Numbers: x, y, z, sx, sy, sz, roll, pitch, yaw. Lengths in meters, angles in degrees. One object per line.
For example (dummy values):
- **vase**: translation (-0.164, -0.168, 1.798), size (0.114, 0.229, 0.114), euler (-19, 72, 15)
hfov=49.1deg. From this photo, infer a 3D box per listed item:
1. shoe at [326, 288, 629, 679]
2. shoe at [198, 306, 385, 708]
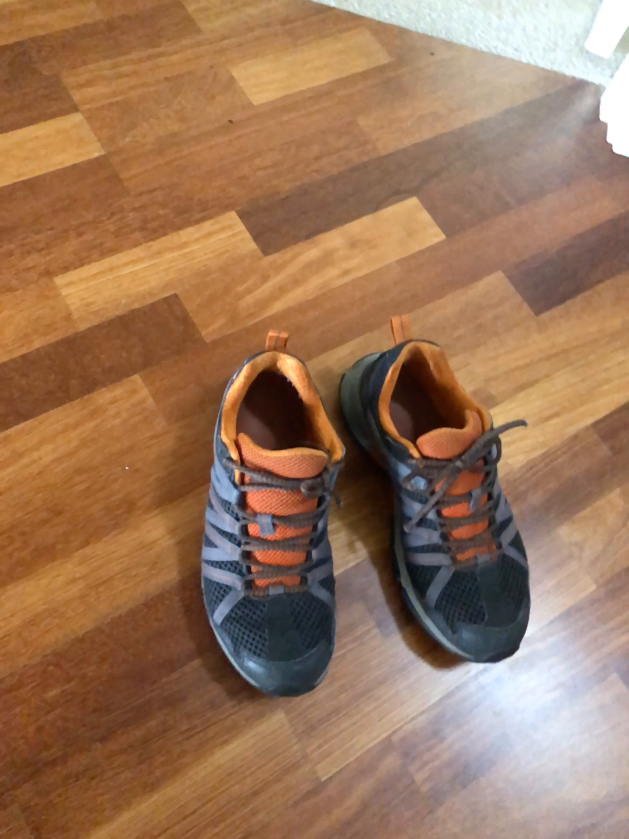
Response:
- **shoe**: translation (0.118, 0.050, 0.570), size (0.119, 0.117, 0.279), euler (-13, 69, -15)
- **shoe**: translation (-0.031, 0.065, 0.534), size (0.113, 0.117, 0.282), euler (-1, 66, -10)
